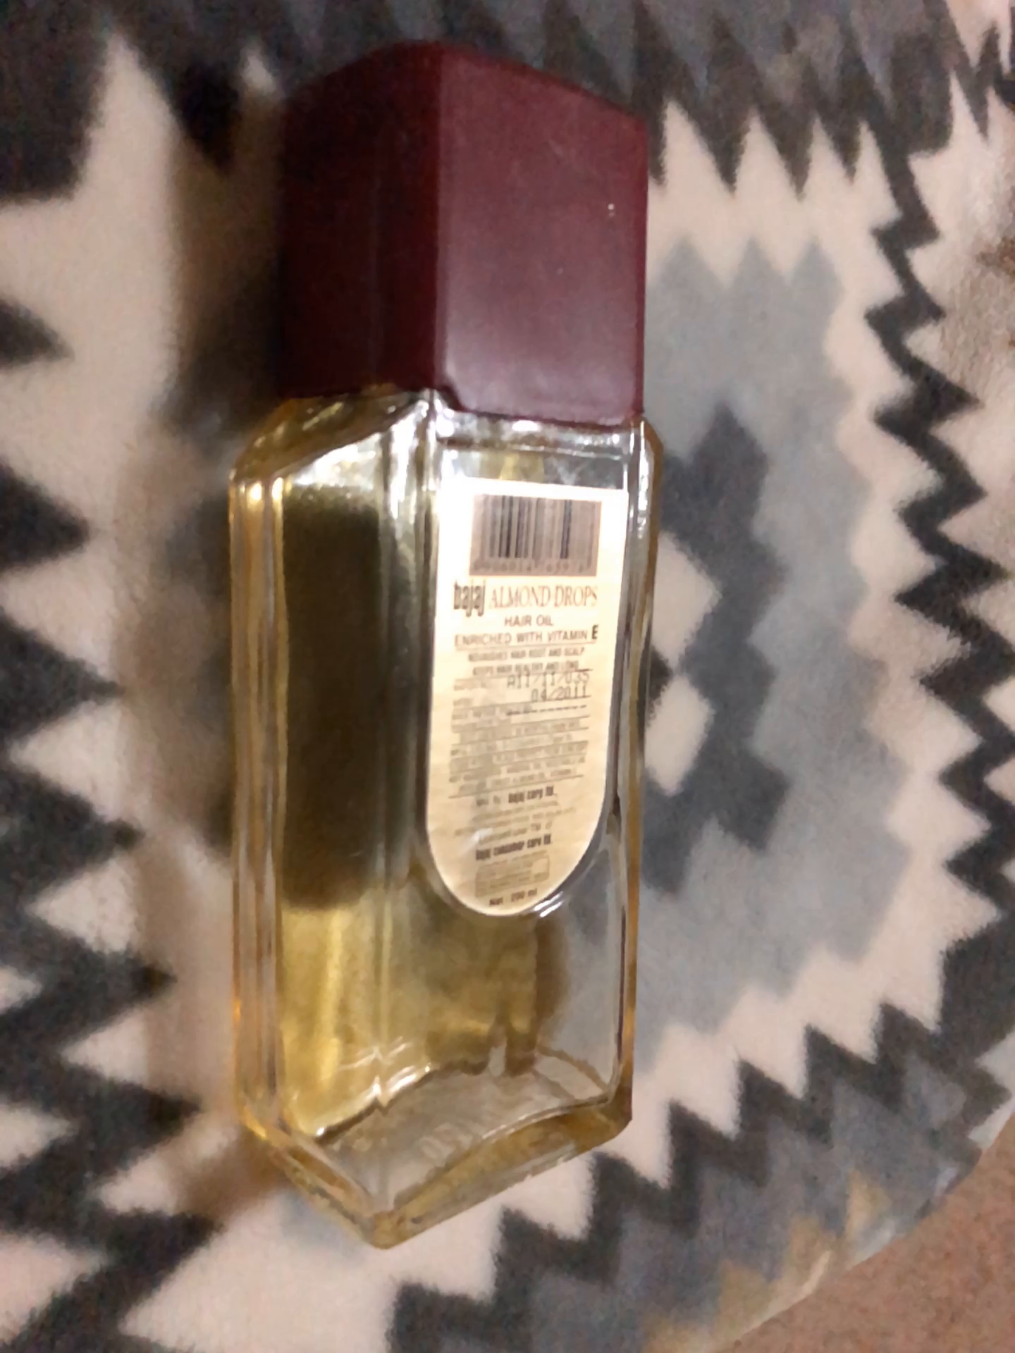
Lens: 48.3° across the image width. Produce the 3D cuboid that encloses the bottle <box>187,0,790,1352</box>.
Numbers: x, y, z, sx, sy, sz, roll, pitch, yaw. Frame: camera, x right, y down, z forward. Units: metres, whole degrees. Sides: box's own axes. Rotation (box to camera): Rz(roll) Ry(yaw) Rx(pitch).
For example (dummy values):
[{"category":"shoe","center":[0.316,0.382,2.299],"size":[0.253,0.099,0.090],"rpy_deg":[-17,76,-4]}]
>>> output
[{"category":"bottle","center":[0.001,-0.009,0.175],"size":[0.080,0.040,0.190],"rpy_deg":[-7,99,-40]}]
